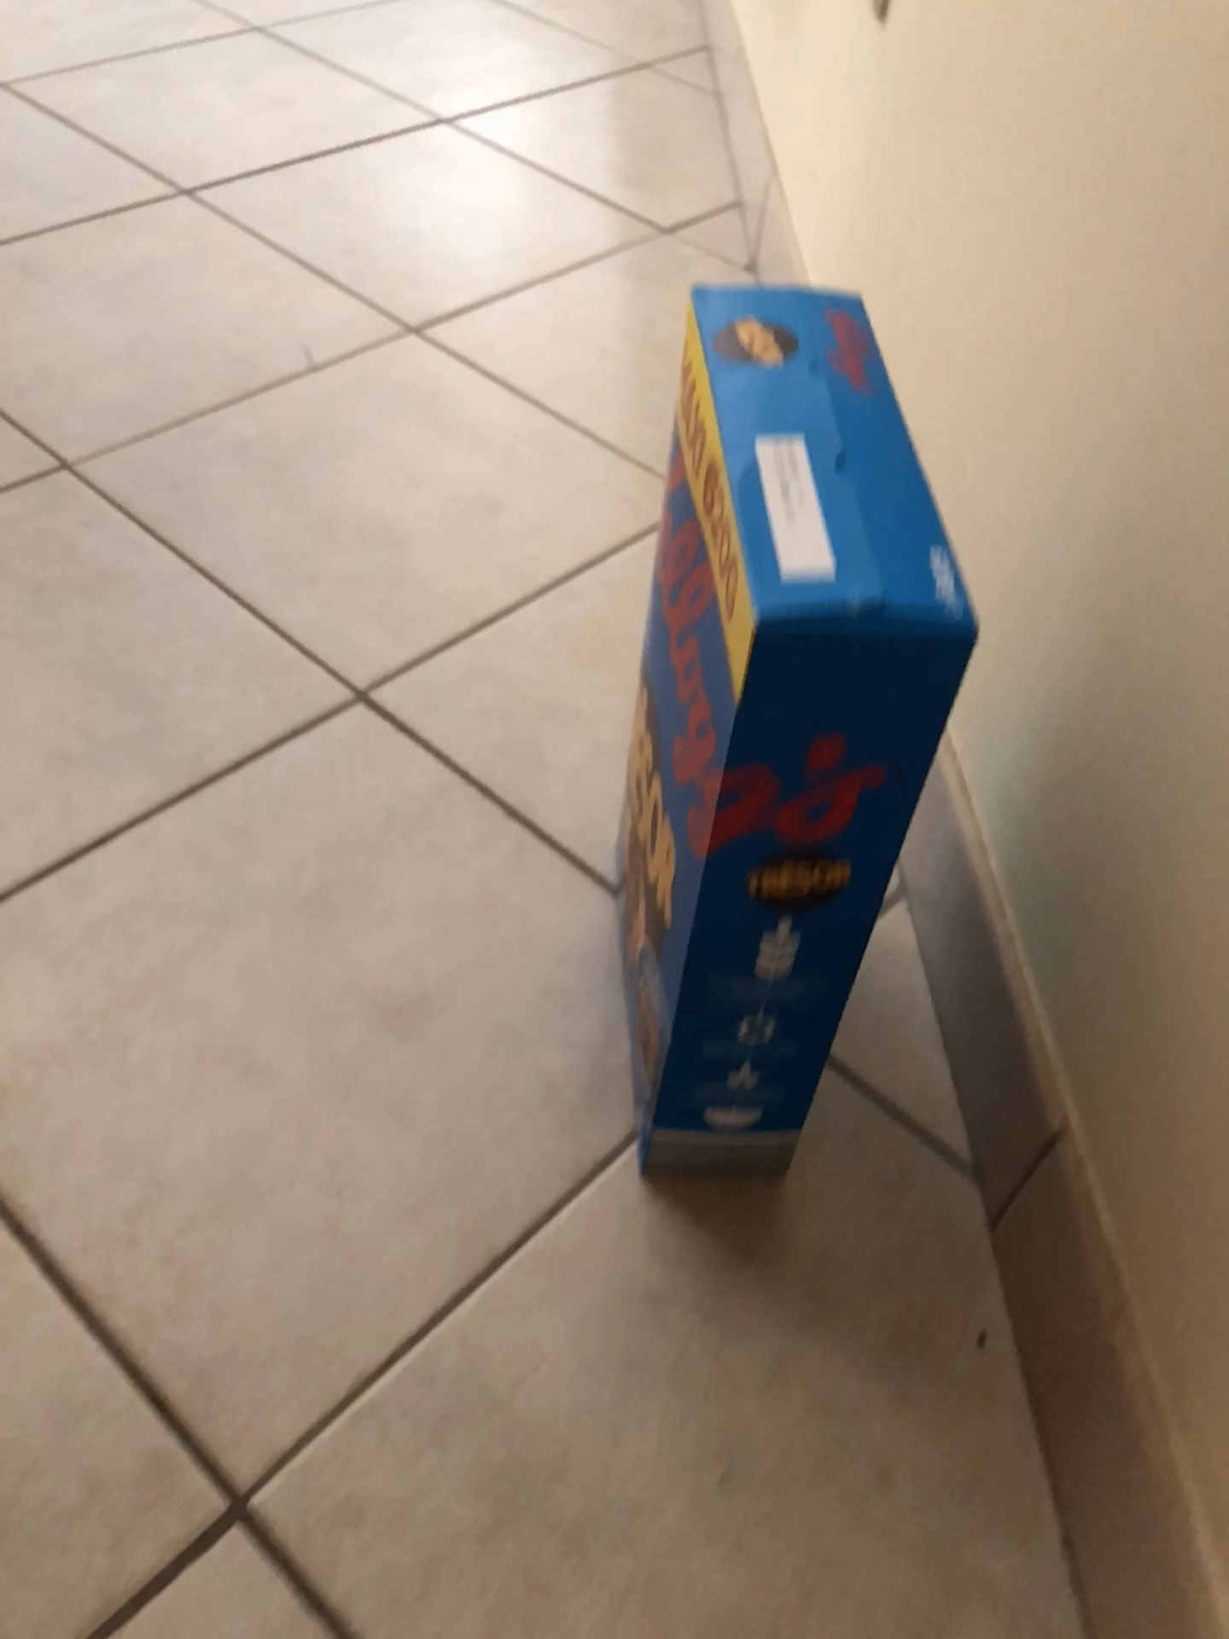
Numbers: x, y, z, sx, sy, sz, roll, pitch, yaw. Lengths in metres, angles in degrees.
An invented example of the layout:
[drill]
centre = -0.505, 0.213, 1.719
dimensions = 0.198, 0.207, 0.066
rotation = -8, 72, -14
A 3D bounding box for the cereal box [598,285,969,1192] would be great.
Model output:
[cereal box]
centre = 0.042, -0.016, 0.525
dimensions = 0.070, 0.298, 0.191
rotation = 2, 46, -5
